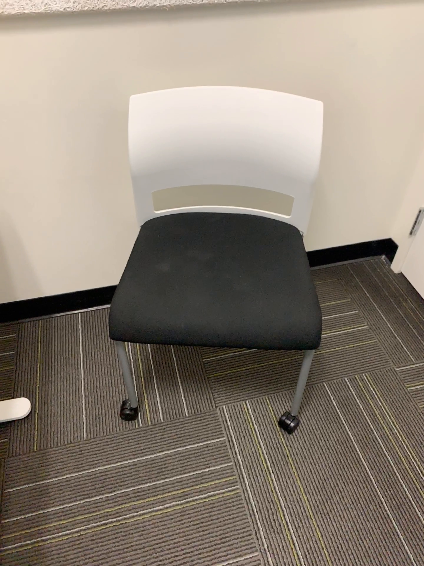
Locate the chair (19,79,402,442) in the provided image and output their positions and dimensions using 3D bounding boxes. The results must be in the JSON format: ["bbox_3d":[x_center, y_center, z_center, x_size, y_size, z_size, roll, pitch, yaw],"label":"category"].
[{"bbox_3d":[-0.006,-0.041,1.198,0.620,0.776,0.624,0,45,0],"label":"chair"}]
